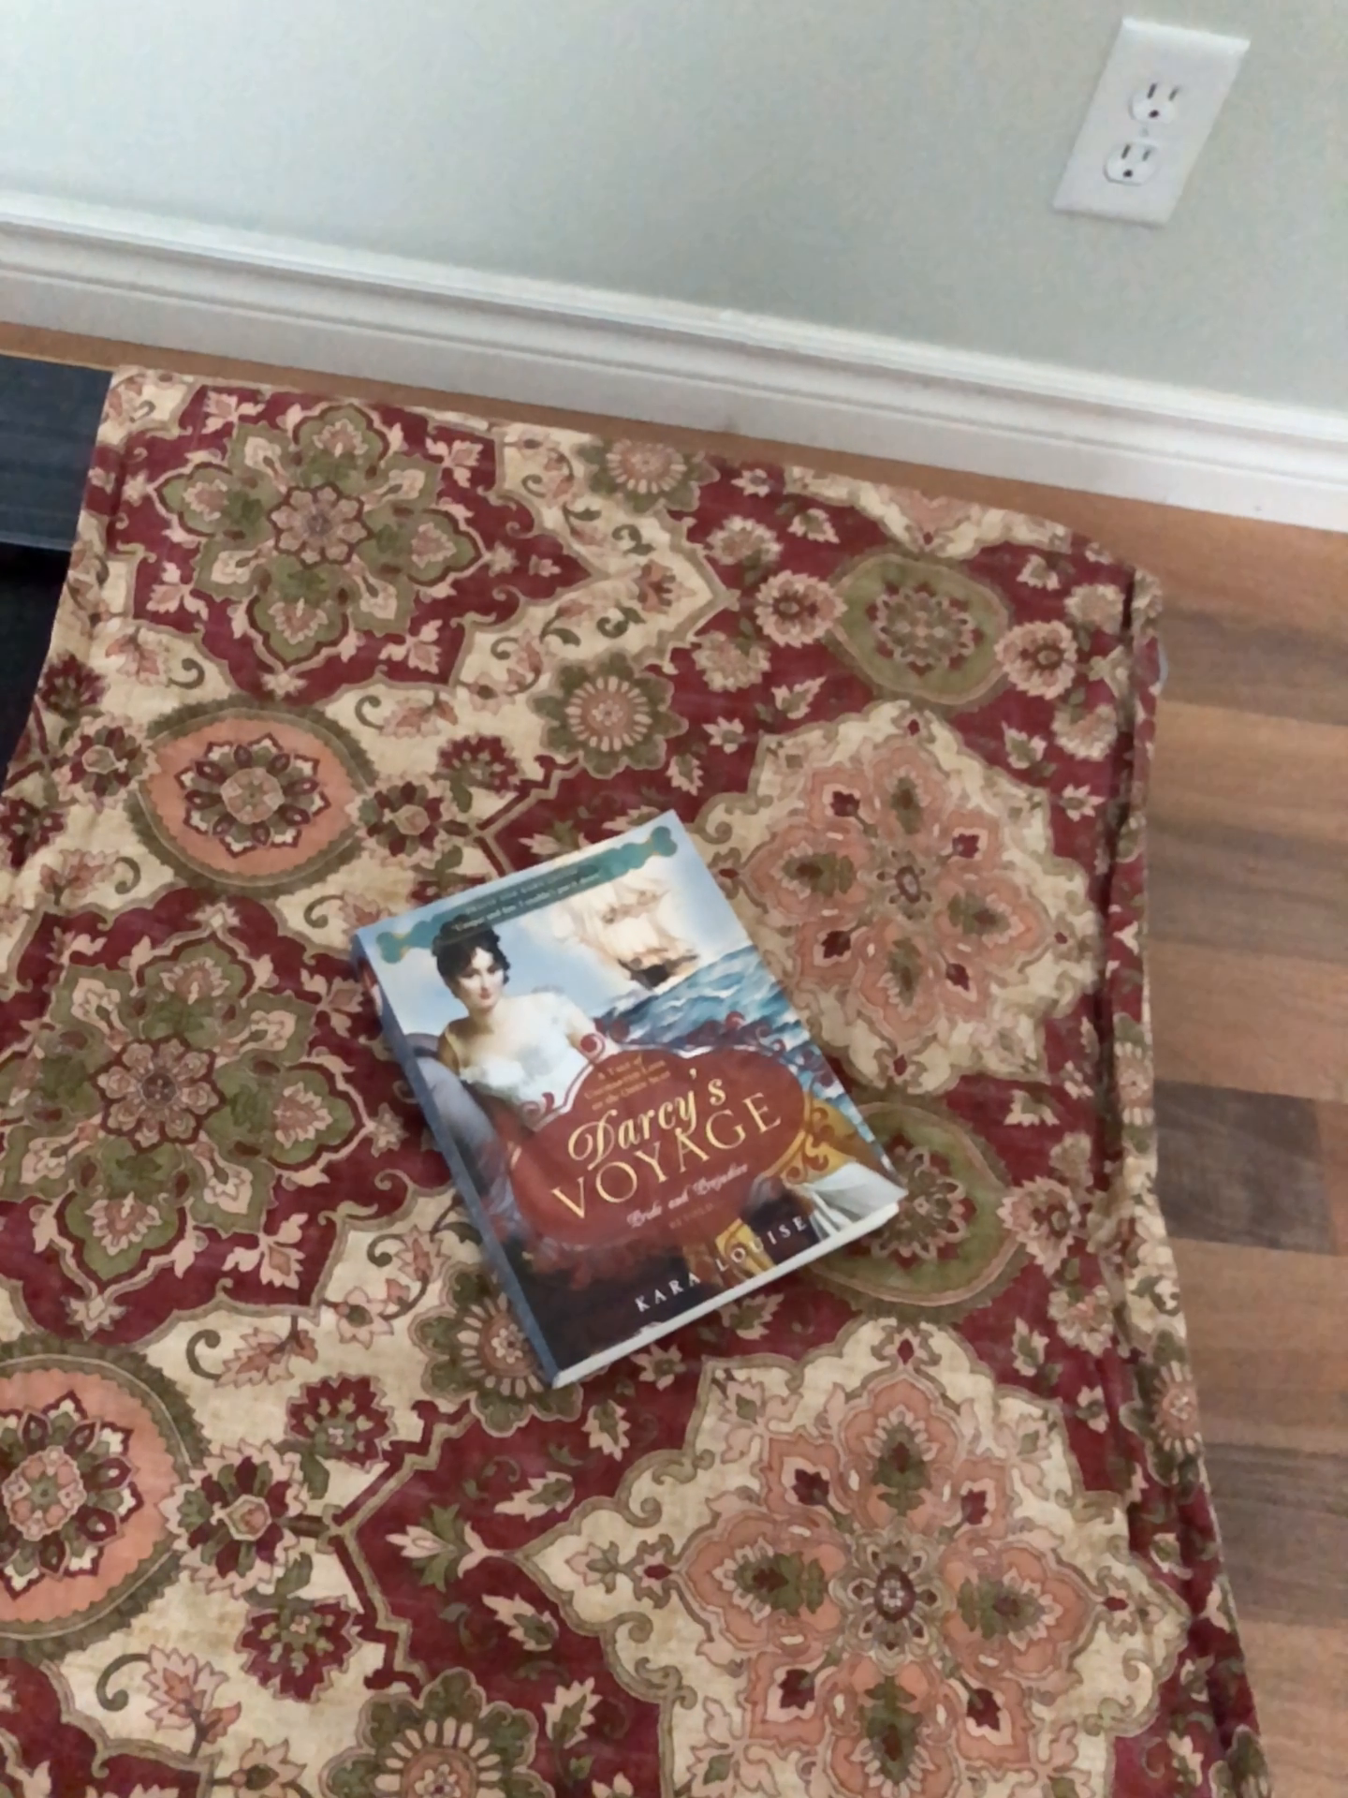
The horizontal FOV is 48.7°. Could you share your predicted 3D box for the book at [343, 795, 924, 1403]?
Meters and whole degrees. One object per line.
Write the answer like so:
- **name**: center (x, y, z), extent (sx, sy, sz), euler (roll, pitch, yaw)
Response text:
- **book**: center (-0.021, 0.070, 0.596), extent (0.154, 0.034, 0.200), euler (-21, 65, -20)
